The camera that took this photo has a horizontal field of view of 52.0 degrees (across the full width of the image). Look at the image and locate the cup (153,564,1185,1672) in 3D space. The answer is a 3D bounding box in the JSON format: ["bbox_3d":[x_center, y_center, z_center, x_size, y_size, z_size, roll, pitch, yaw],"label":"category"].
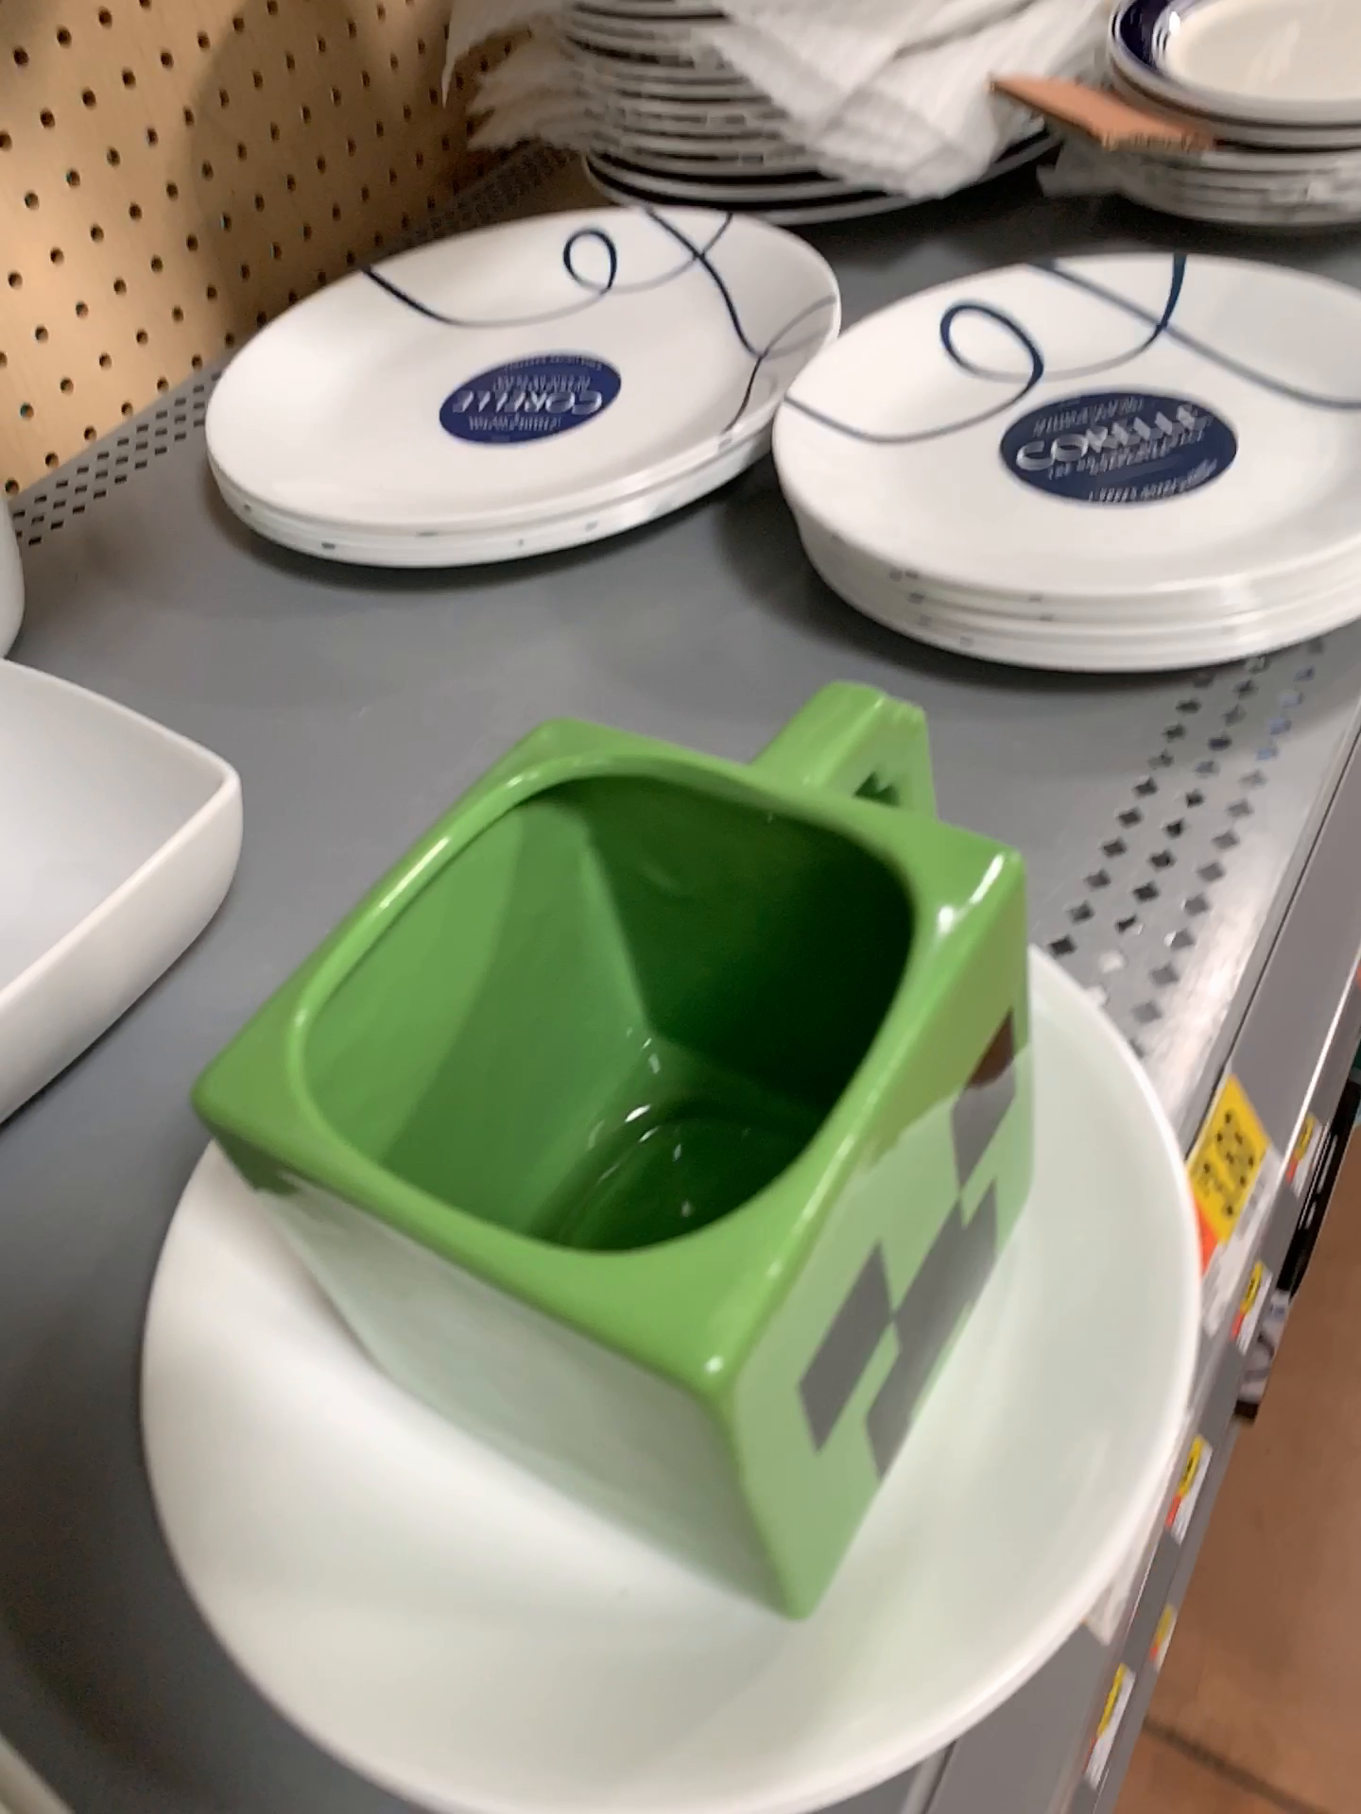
[{"bbox_3d":[0.011,0.029,0.258,0.106,0.104,0.142,20,54,28],"label":"cup"}]
